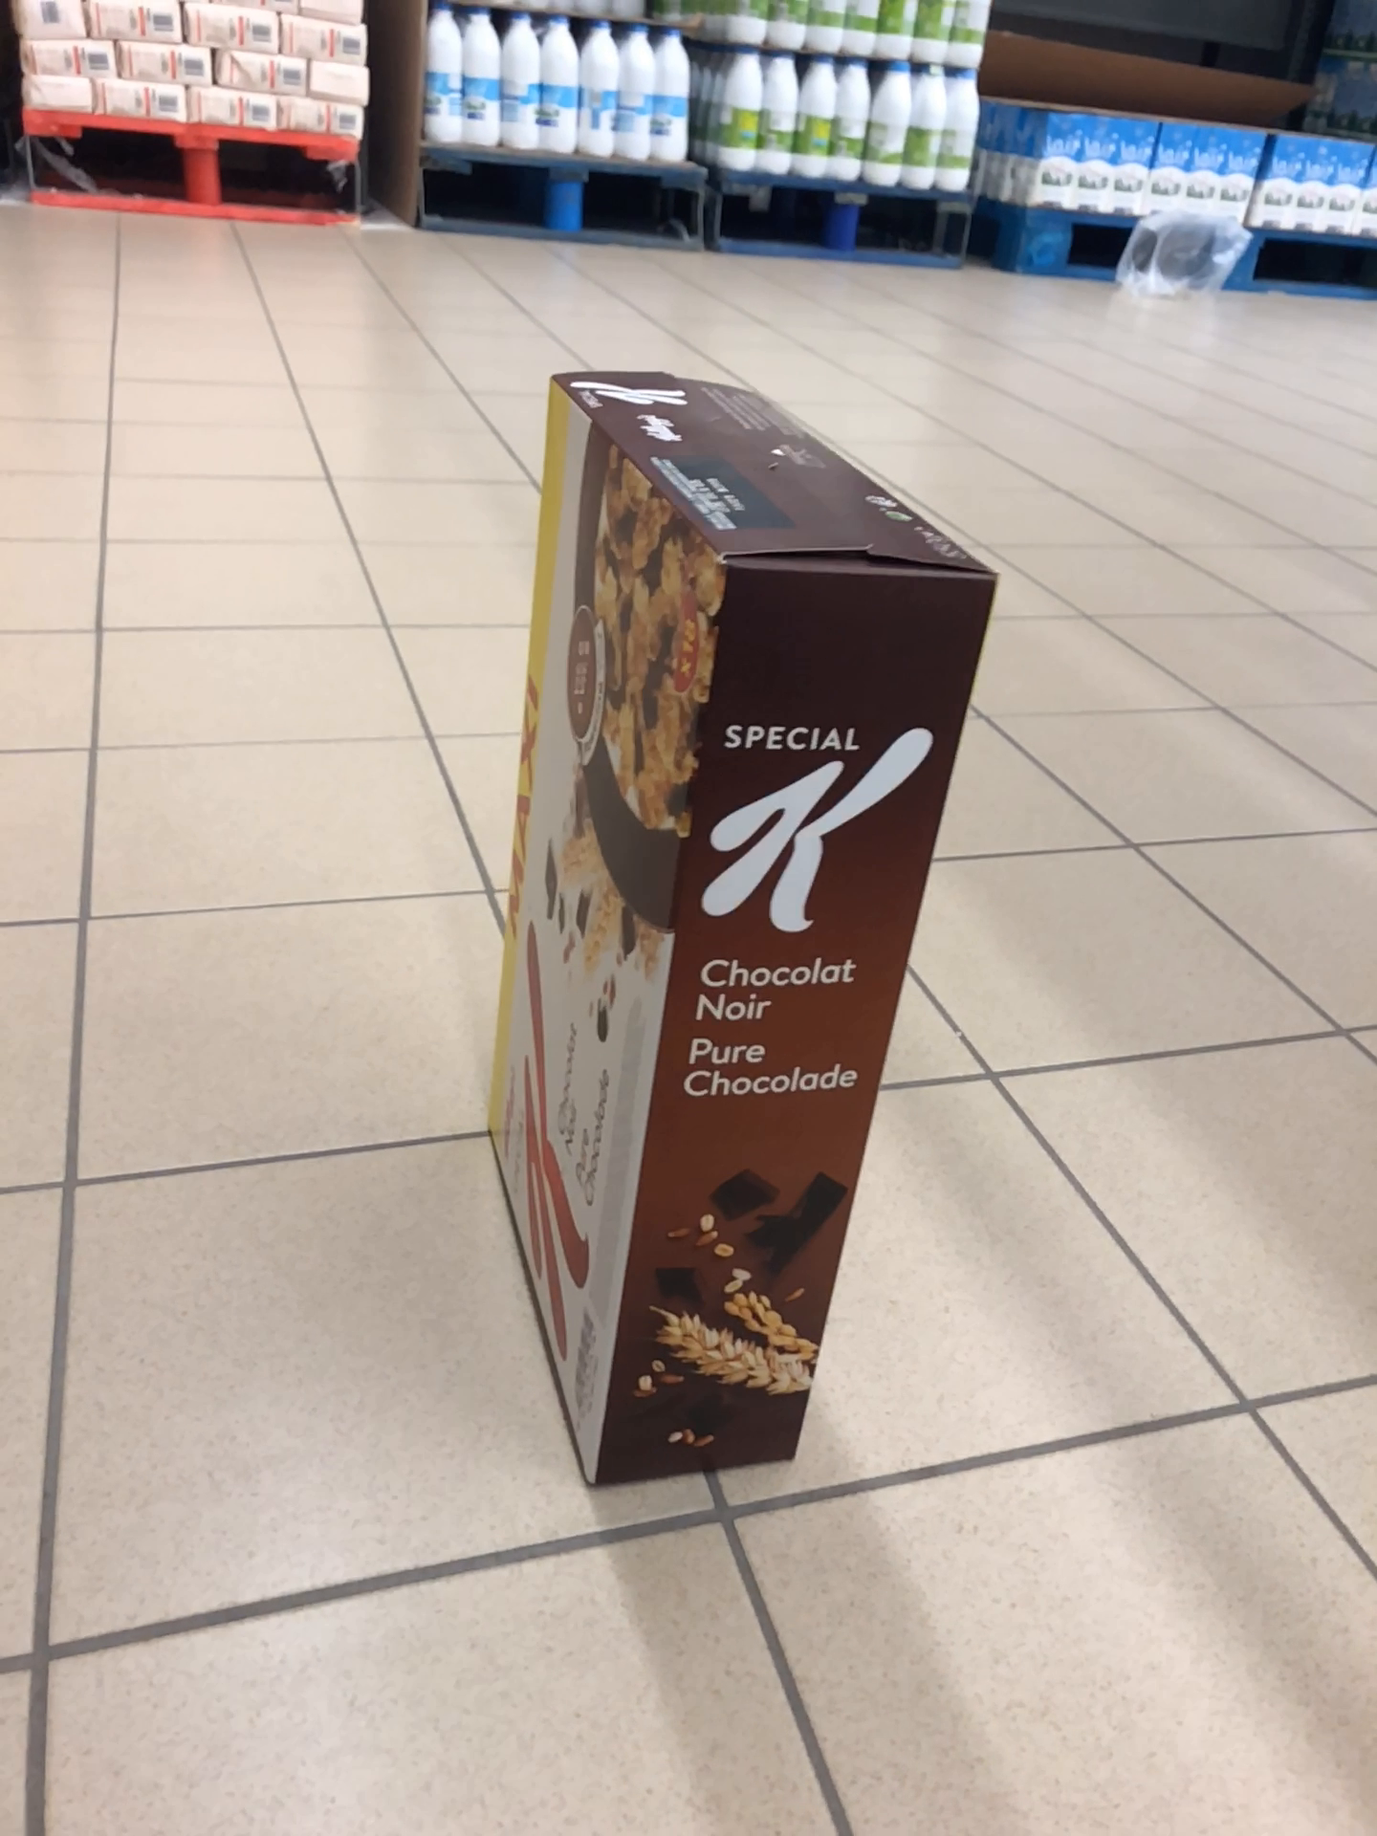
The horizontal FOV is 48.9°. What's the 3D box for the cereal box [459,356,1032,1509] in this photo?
[{"bbox_3d":[-0.008,-0.003,0.491,0.070,0.298,0.211,-2,30,-20],"label":"cereal box"}]
